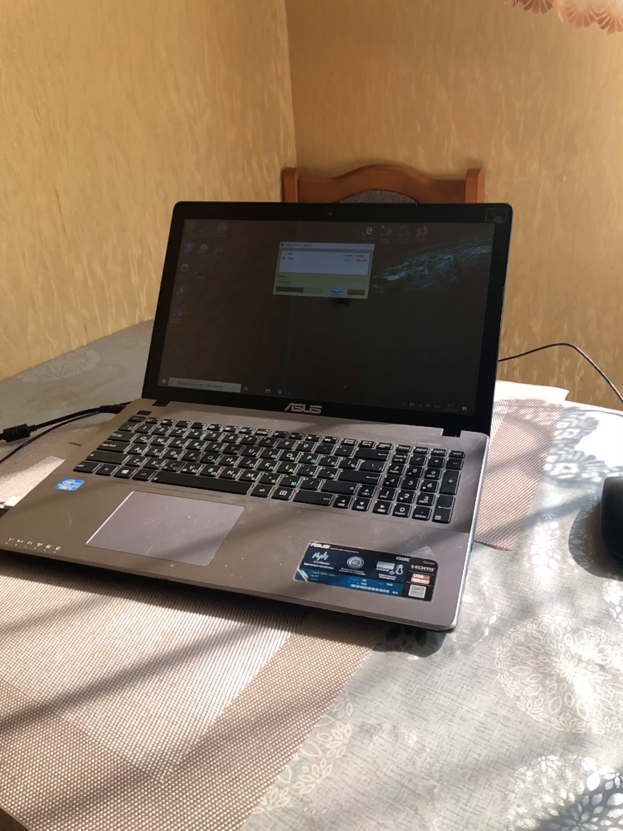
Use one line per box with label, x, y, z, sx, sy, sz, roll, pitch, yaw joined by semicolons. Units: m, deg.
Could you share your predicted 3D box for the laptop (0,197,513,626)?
laptop;-0.033;-0.060;0.621;0.378;0.183;0.399;6;30;17
